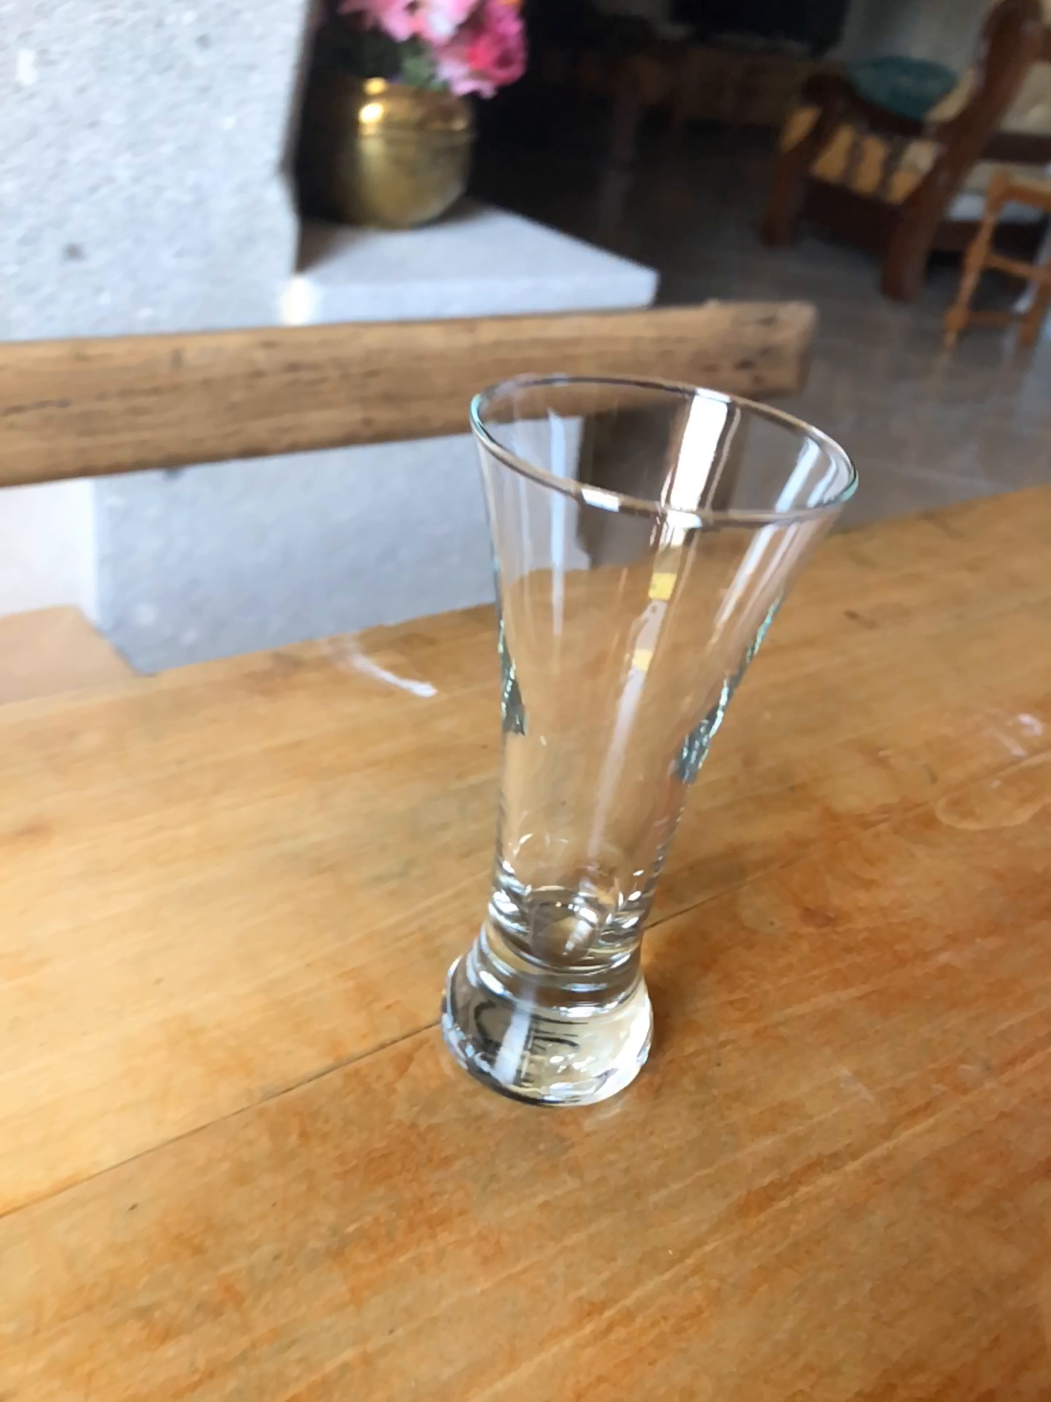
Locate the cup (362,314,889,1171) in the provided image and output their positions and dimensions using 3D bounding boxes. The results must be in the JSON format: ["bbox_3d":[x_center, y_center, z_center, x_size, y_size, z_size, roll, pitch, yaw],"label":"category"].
[{"bbox_3d":[0.019,0.009,0.249,0.070,0.149,0.081,16,32,10],"label":"cup"}]
